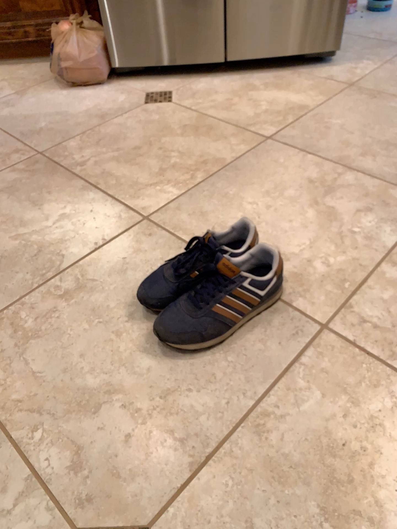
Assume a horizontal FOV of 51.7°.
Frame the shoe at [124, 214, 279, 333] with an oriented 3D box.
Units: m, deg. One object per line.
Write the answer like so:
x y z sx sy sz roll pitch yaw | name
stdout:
0.010 0.012 0.830 0.282 0.102 0.107 -22 47 -17 | shoe

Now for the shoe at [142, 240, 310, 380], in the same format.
0.055 0.077 0.763 0.282 0.102 0.112 -25 48 -19 | shoe
